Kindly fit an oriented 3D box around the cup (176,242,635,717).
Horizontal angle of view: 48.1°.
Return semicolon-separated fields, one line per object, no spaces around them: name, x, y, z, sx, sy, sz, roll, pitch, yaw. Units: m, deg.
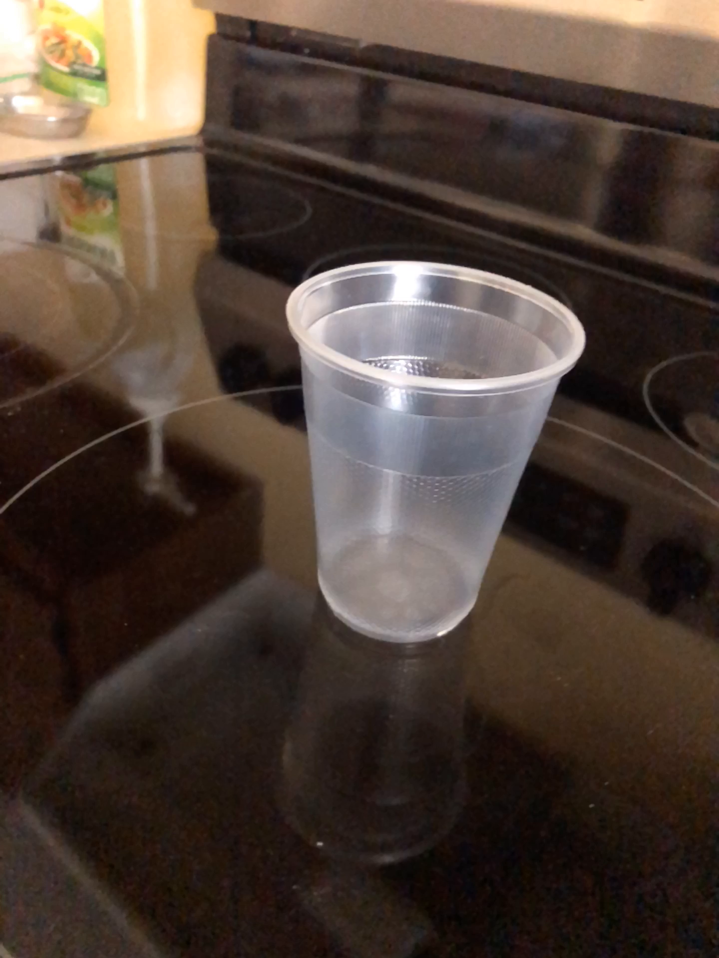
cup;0.009;-0.007;0.220;0.081;0.081;0.079;4;33;-2
